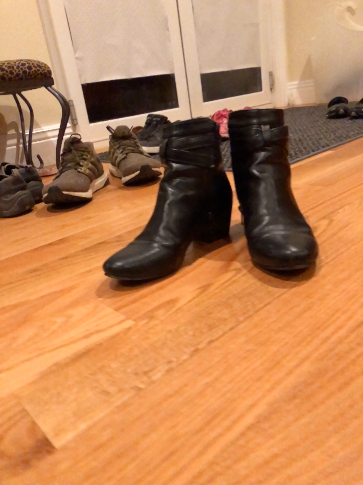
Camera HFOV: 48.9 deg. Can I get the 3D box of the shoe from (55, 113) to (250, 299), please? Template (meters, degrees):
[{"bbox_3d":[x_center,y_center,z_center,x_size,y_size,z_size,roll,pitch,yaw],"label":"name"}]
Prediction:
[{"bbox_3d":[-0.022,-0.062,0.524,0.226,0.172,0.090,-25,25,-39],"label":"shoe"}]

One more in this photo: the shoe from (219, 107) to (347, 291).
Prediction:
[{"bbox_3d":[0.117,-0.073,0.508,0.090,0.172,0.227,-8,20,0],"label":"shoe"}]
